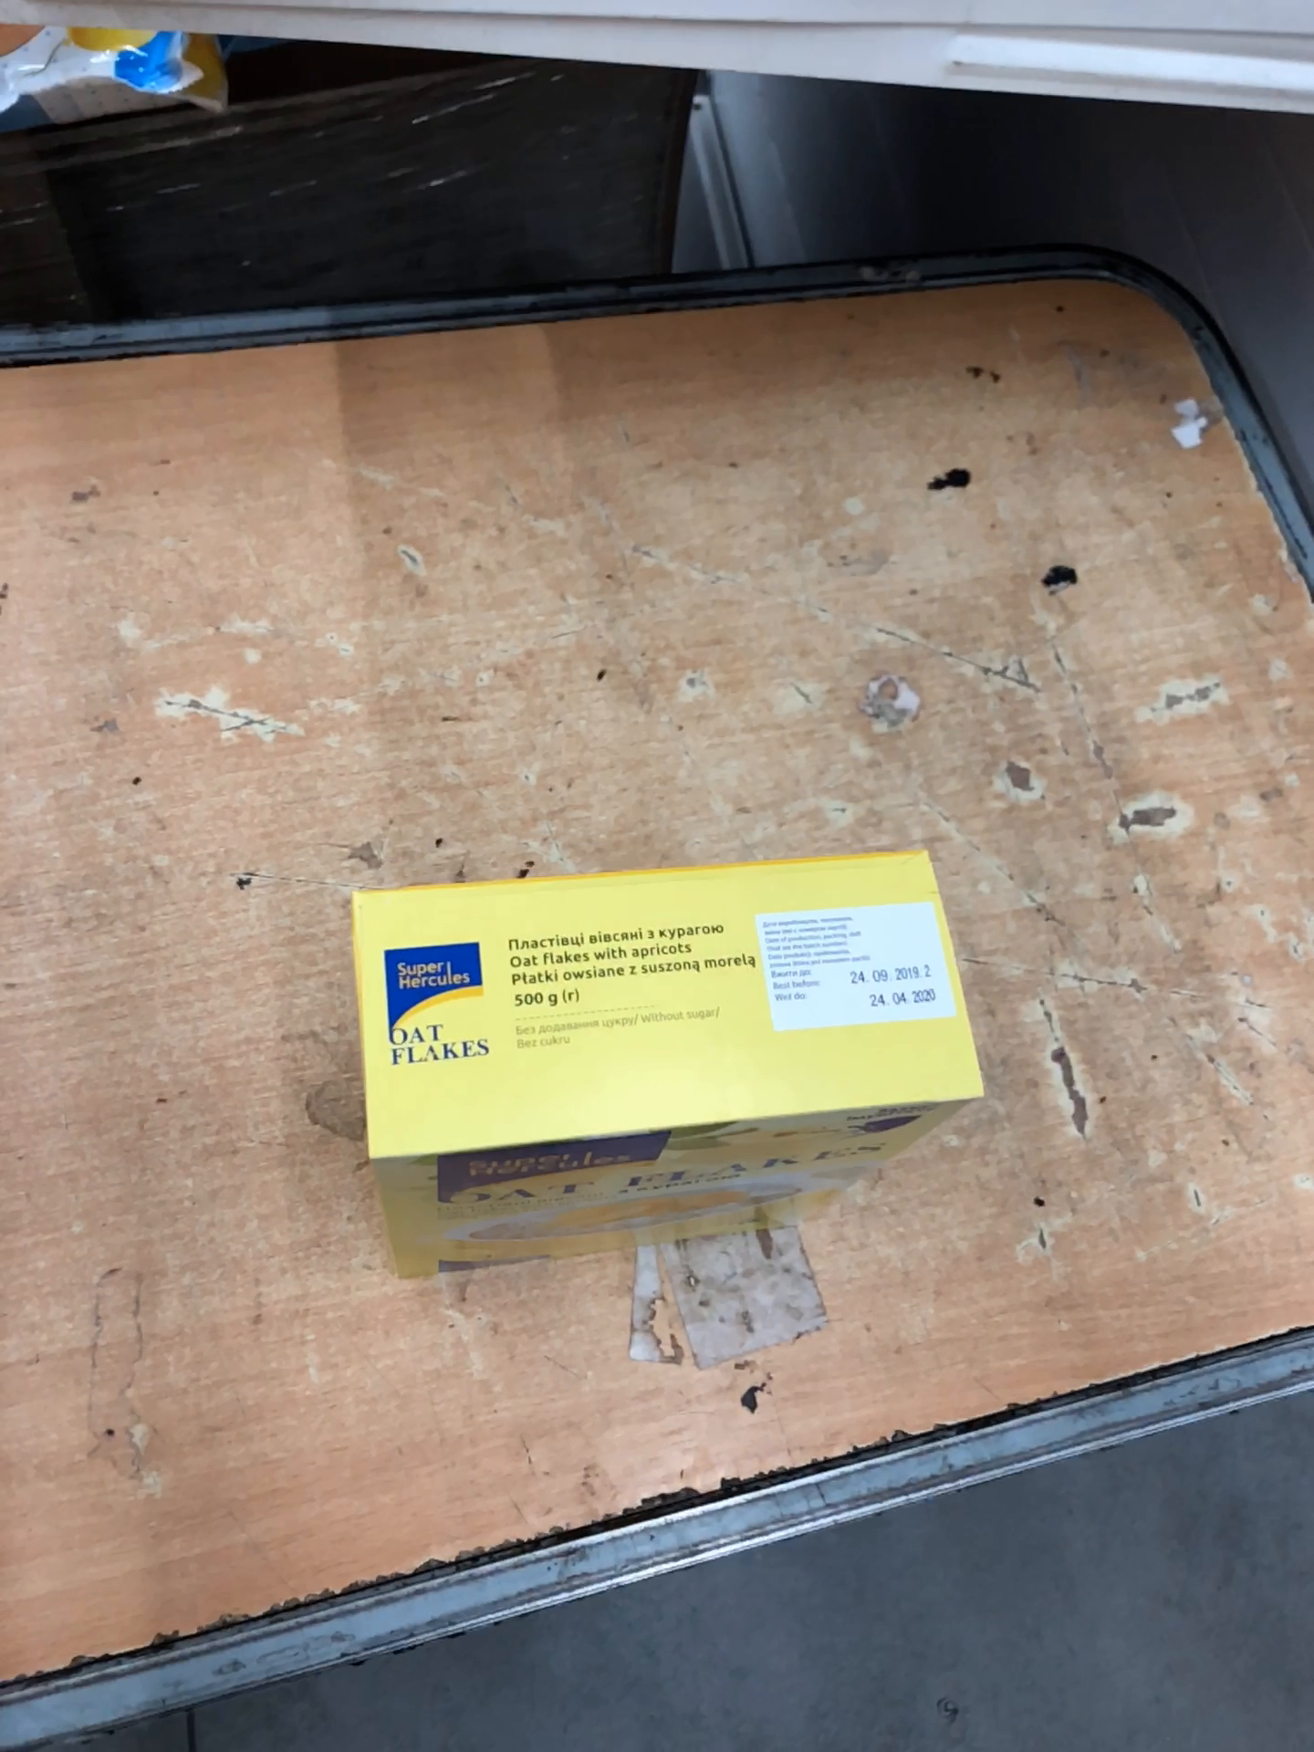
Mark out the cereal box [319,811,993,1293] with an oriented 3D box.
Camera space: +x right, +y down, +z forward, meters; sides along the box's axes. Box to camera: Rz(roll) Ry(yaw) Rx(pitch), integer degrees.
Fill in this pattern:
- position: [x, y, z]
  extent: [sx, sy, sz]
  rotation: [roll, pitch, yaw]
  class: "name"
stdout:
- position: [-0.012, 0.063, 0.432]
  extent: [0.150, 0.199, 0.080]
  rotation: [-4, 69, -9]
  class: "cereal box"
